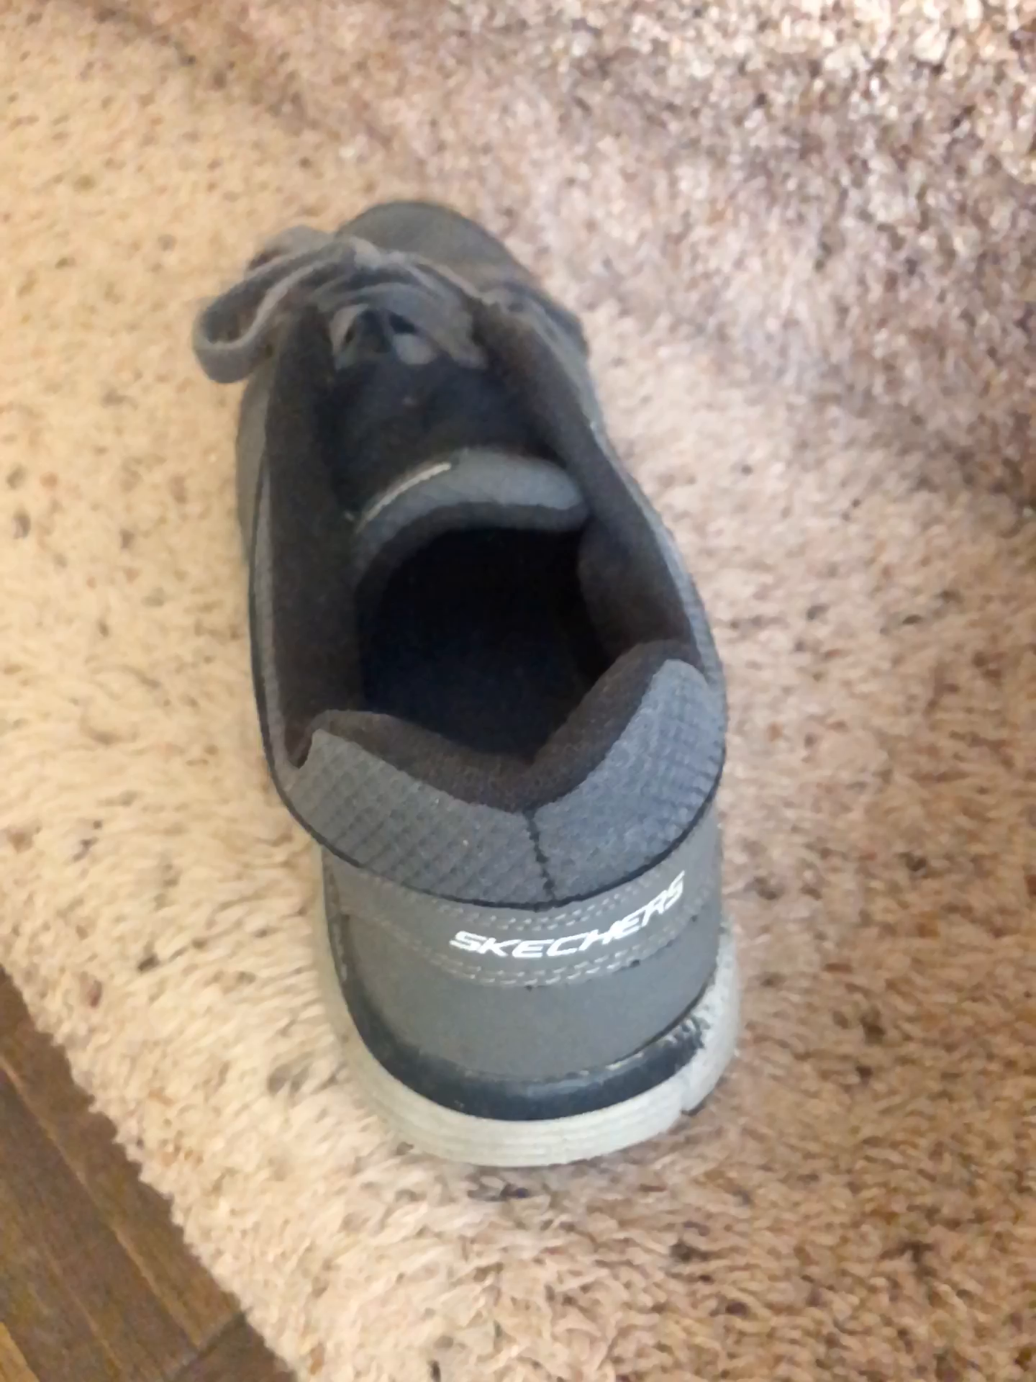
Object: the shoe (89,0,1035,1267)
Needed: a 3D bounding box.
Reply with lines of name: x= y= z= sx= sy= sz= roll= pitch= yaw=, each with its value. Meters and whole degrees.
shoe: x=-0.018 y=-0.053 z=0.278 sx=0.110 sy=0.140 sz=0.300 roll=-11 pitch=51 yaw=-5
